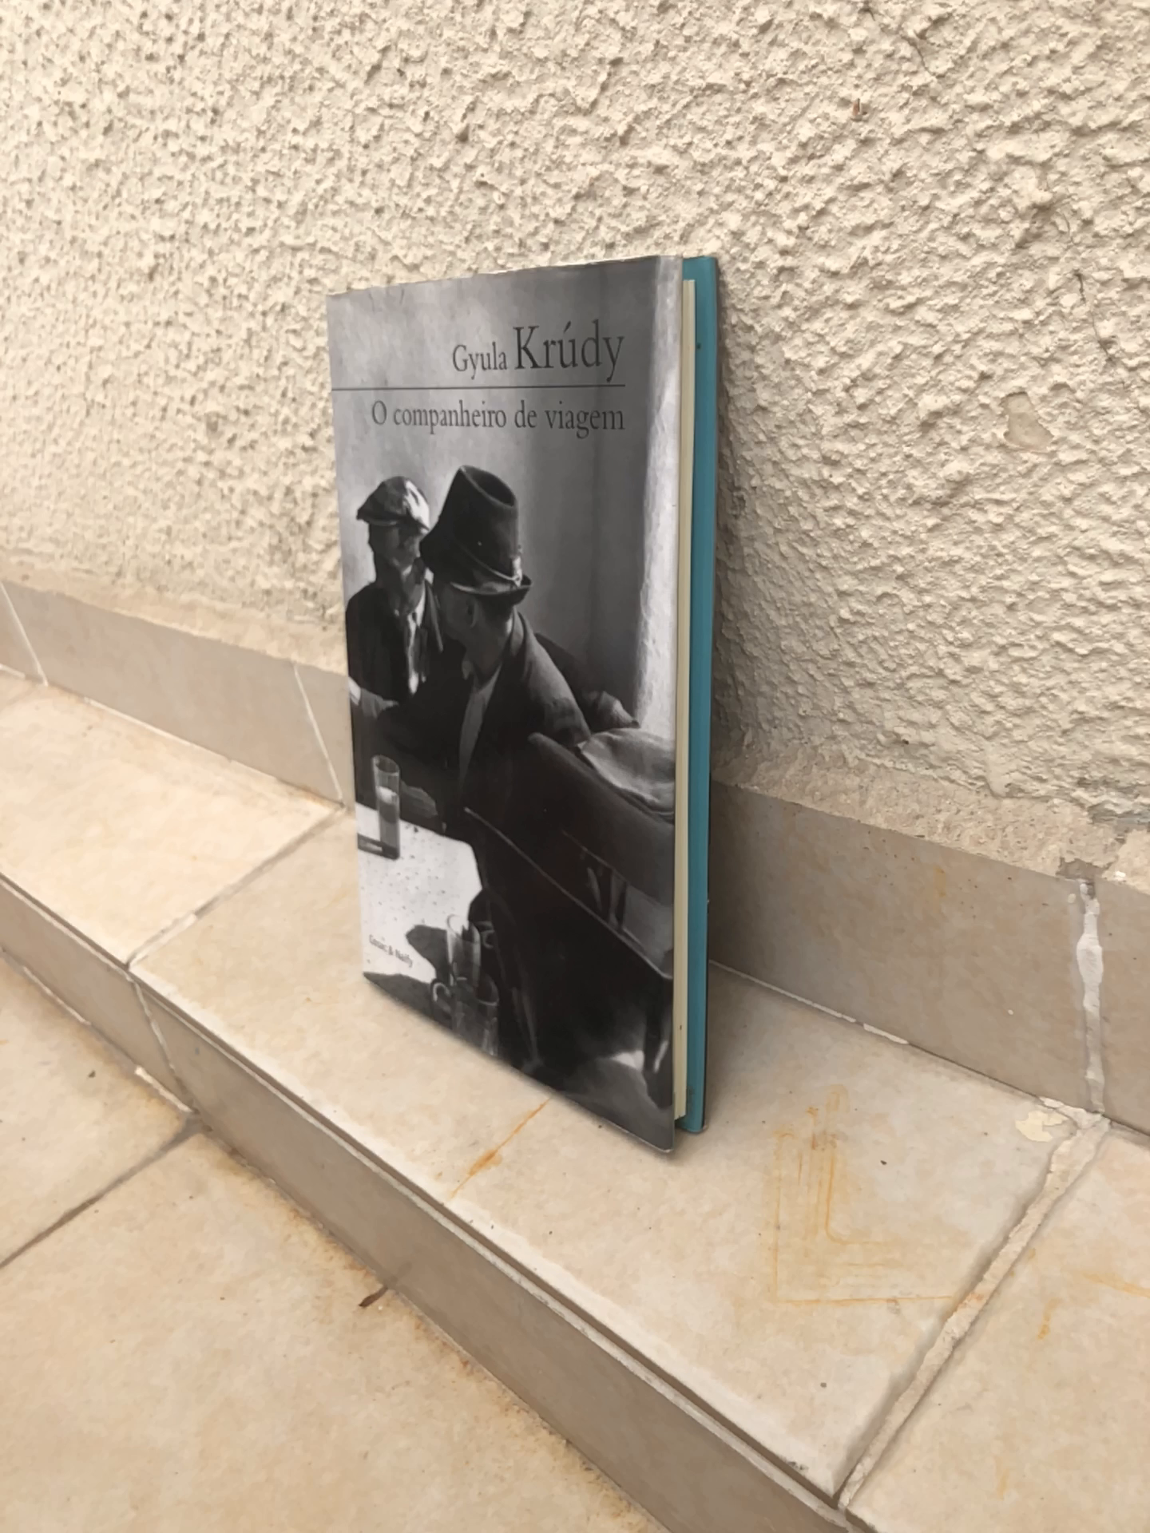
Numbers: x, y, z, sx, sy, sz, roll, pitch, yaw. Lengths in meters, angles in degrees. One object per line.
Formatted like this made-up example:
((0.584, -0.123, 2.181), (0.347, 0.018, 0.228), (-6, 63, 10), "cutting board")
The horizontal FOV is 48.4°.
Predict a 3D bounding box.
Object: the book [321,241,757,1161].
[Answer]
((-0.015, -0.021, 0.332), (0.019, 0.205, 0.137), (-14, 22, -40), "book")
